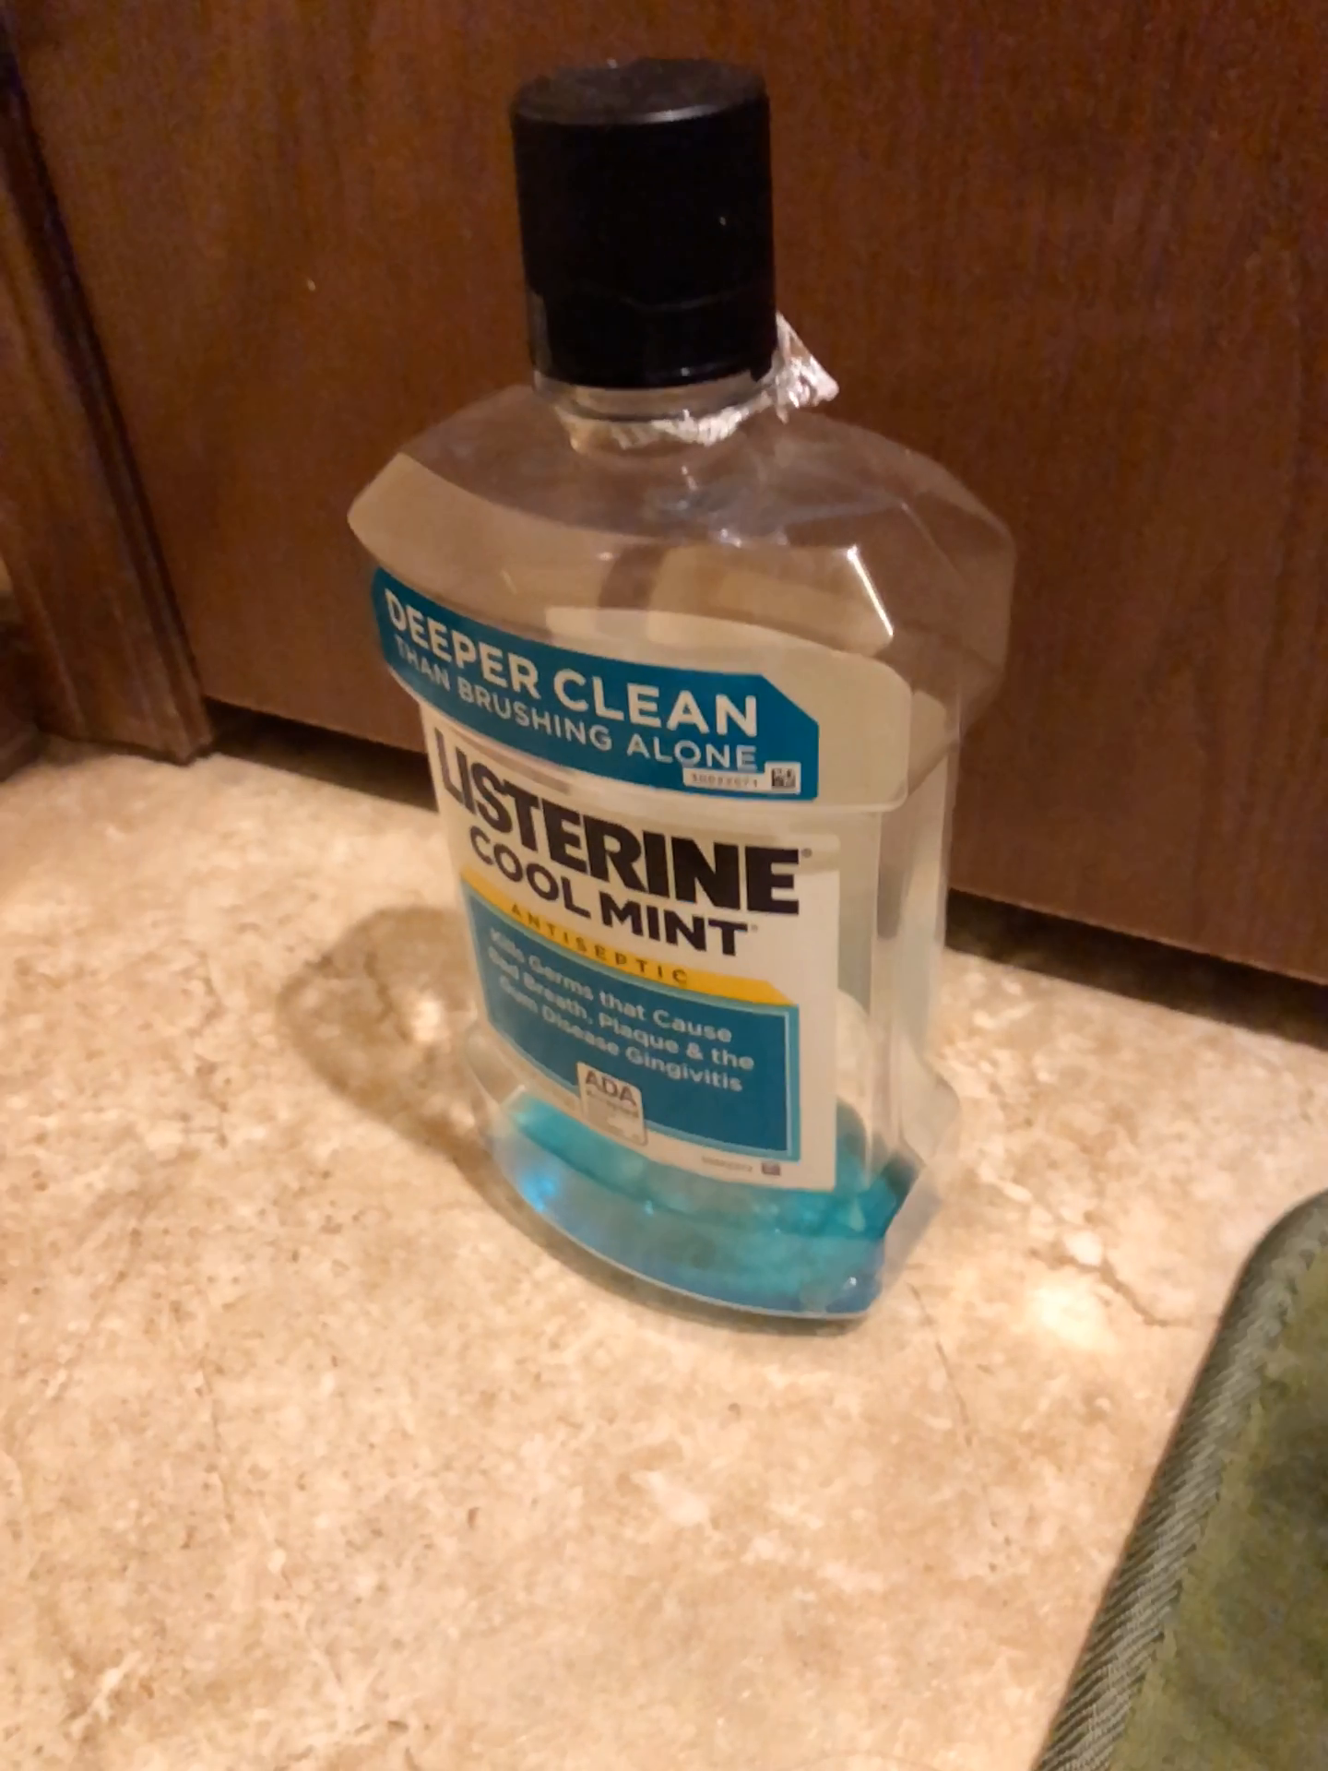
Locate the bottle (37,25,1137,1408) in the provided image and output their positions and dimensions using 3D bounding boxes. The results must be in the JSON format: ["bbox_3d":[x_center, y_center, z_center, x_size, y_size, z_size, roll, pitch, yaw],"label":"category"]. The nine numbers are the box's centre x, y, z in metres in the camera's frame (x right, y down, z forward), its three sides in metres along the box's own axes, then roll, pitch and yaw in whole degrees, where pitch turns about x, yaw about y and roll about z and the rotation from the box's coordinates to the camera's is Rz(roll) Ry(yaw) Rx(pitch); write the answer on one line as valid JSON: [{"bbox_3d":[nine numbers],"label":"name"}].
[{"bbox_3d":[-0.005,-0.027,0.282,0.130,0.219,0.090,20,45,27],"label":"bottle"}]
